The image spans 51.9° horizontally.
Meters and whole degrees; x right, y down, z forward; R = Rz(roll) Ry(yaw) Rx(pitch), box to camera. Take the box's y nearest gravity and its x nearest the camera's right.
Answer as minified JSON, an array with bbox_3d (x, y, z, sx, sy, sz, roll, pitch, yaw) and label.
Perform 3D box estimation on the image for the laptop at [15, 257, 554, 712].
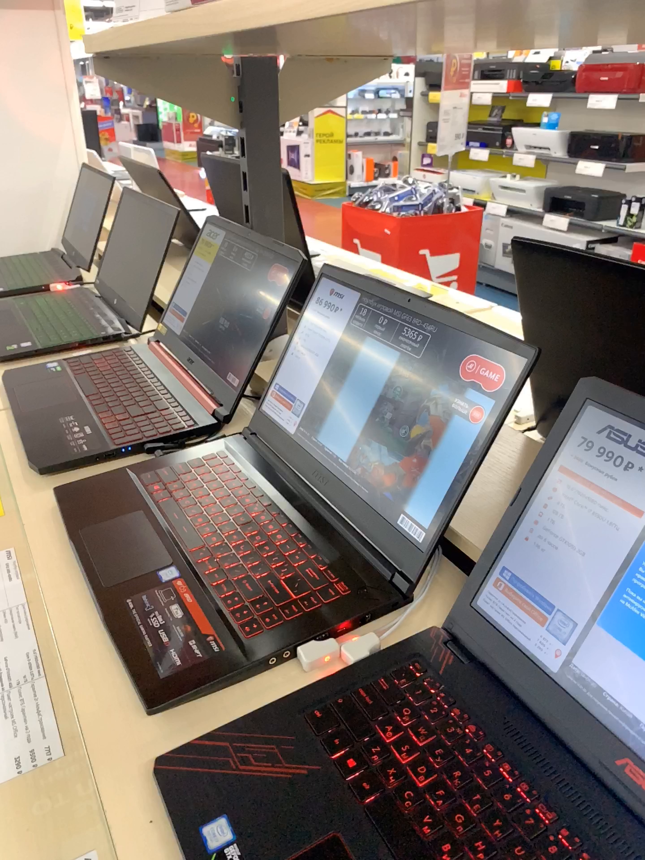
[{"bbox_3d":[-0.057,-0.004,0.654,0.369,0.204,0.352,-17,32,-26],"label":"laptop"}]

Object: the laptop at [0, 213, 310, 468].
[{"bbox_3d":[-0.267,-0.158,0.943,0.371,0.211,0.336,-15,30,-25],"label":"laptop"}]
